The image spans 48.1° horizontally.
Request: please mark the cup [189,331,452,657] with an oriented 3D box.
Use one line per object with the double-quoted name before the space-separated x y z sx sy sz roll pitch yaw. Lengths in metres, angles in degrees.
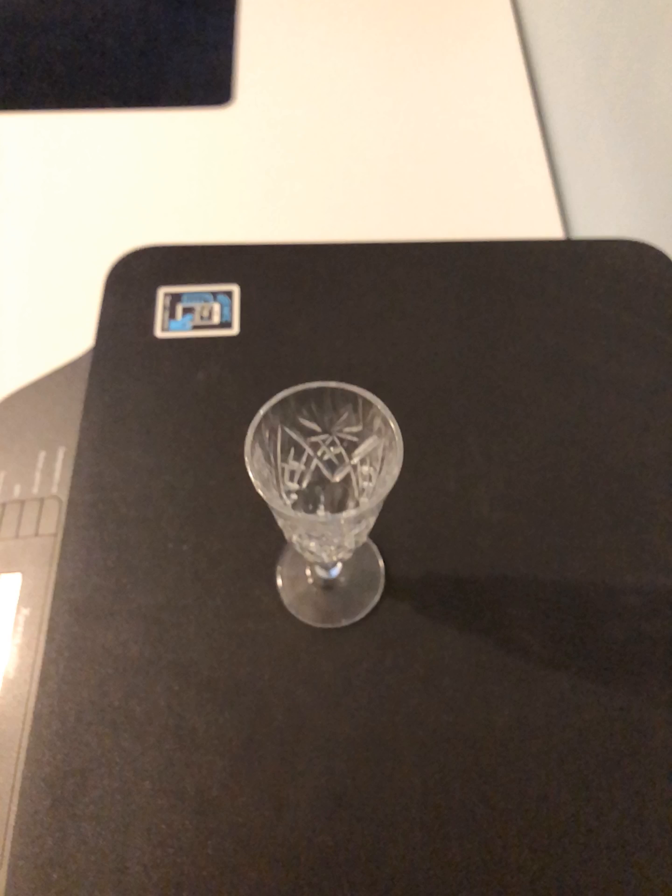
"cup" -0.003 0.023 0.267 0.054 0.110 0.057 0 62 1
